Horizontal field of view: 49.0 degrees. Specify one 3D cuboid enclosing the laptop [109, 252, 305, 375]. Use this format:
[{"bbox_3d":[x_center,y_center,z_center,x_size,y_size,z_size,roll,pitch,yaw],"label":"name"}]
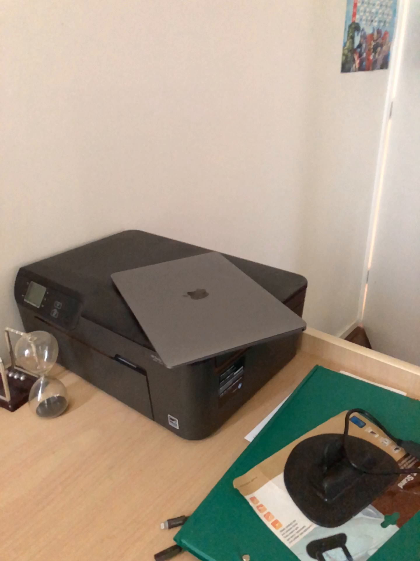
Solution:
[{"bbox_3d":[-0.020,0.029,0.662,0.188,0.007,0.267,-14,29,-20],"label":"laptop"}]
